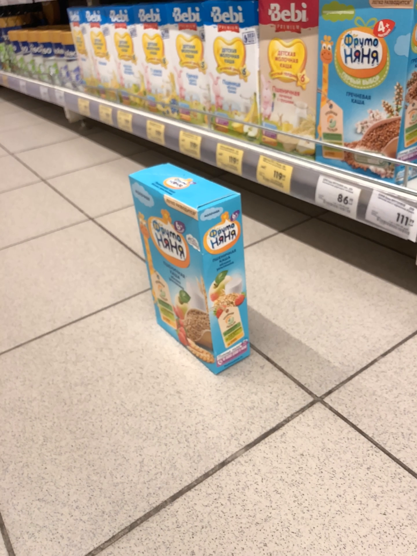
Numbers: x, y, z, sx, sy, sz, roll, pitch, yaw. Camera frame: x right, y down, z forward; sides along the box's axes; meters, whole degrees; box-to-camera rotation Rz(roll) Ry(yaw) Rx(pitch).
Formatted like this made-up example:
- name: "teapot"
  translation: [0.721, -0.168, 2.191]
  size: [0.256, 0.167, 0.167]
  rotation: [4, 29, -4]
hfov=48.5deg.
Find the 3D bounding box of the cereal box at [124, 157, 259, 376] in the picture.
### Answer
- name: "cereal box"
  translation: [-0.016, -0.015, 0.517]
  size: [0.060, 0.199, 0.141]
  rotation: [-26, 37, -28]
